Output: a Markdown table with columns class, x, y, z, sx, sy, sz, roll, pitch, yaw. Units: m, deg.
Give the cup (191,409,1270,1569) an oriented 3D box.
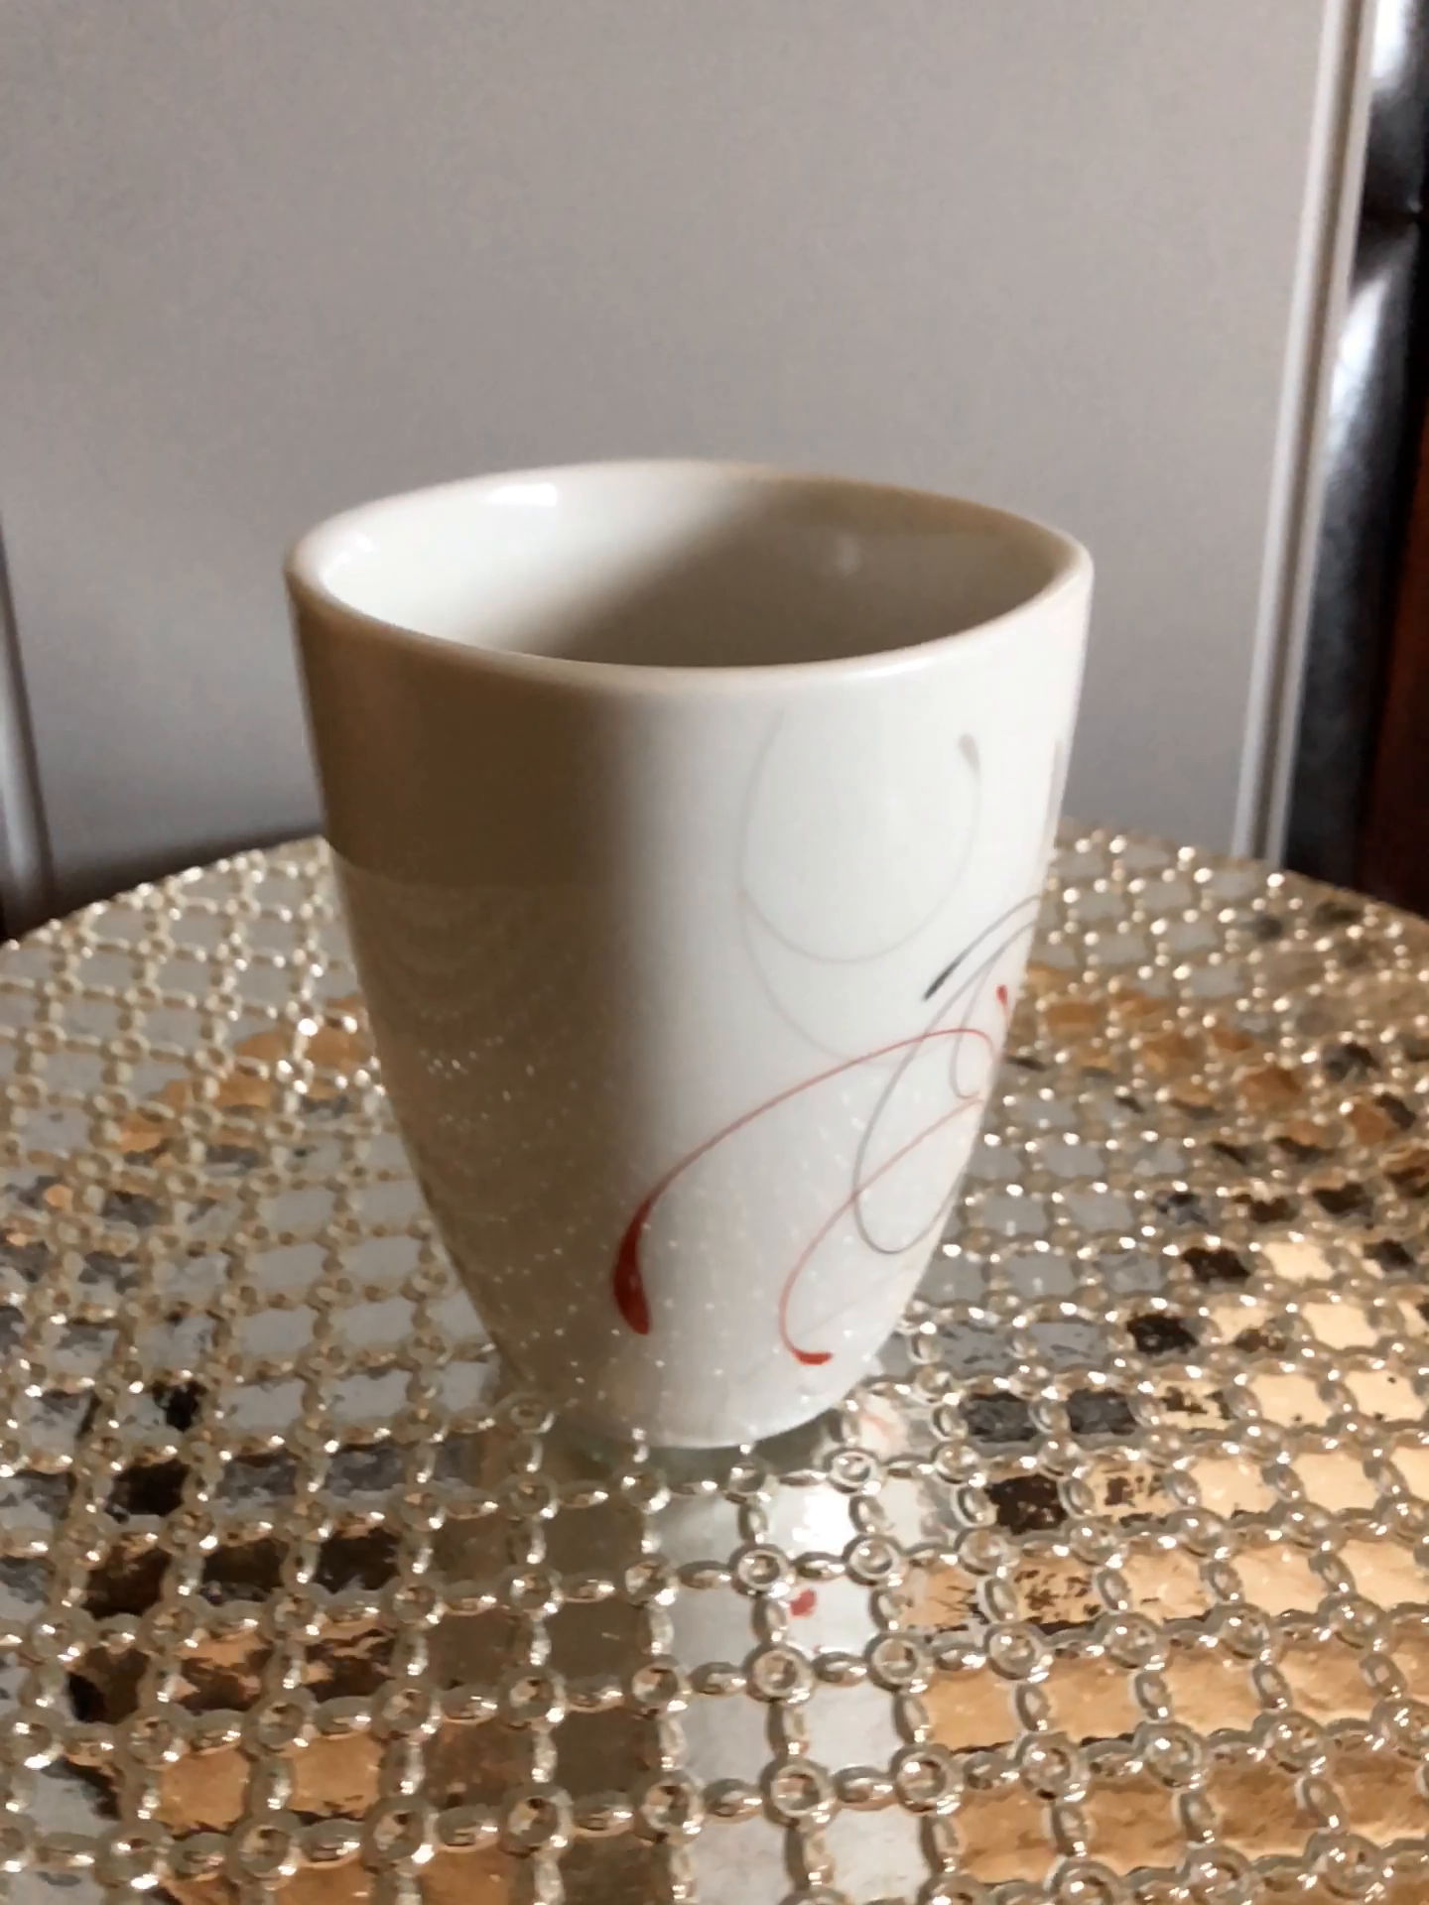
| class | x | y | z | sx | sy | sz | roll | pitch | yaw |
| --- | --- | --- | --- | --- | --- | --- | --- | --- | --- |
| cup | 0.008 | -0.009 | 0.215 | 0.080 | 0.099 | 0.110 | 19 | 33 | 30 |
